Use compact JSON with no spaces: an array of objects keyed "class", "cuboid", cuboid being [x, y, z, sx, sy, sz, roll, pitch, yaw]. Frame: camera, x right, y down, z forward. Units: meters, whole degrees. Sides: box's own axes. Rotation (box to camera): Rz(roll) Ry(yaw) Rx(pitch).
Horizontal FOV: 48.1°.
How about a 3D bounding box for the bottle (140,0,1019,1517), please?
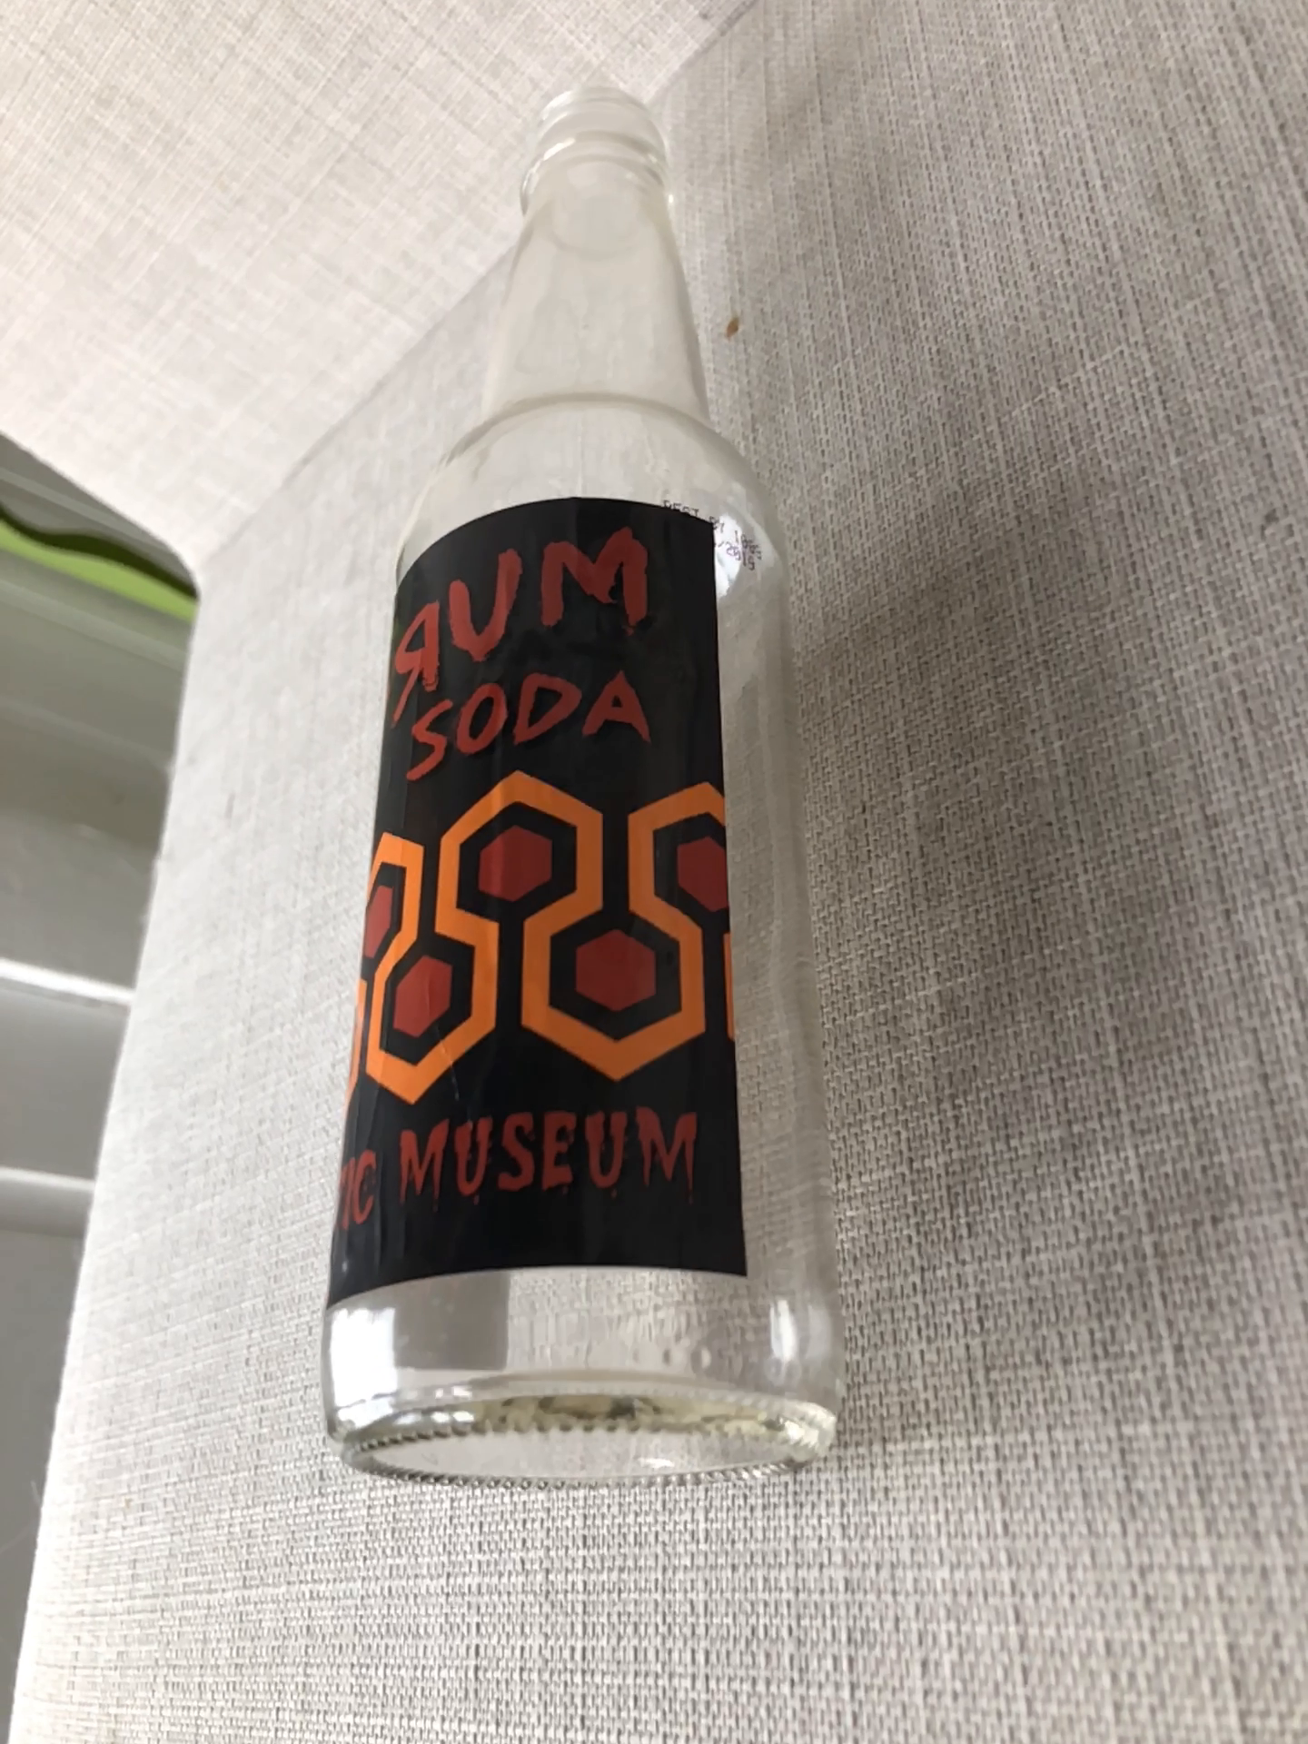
[{"class":"bottle","cuboid":[-0.013,-0.036,0.210,0.063,0.070,0.231,-31,51,42]}]
